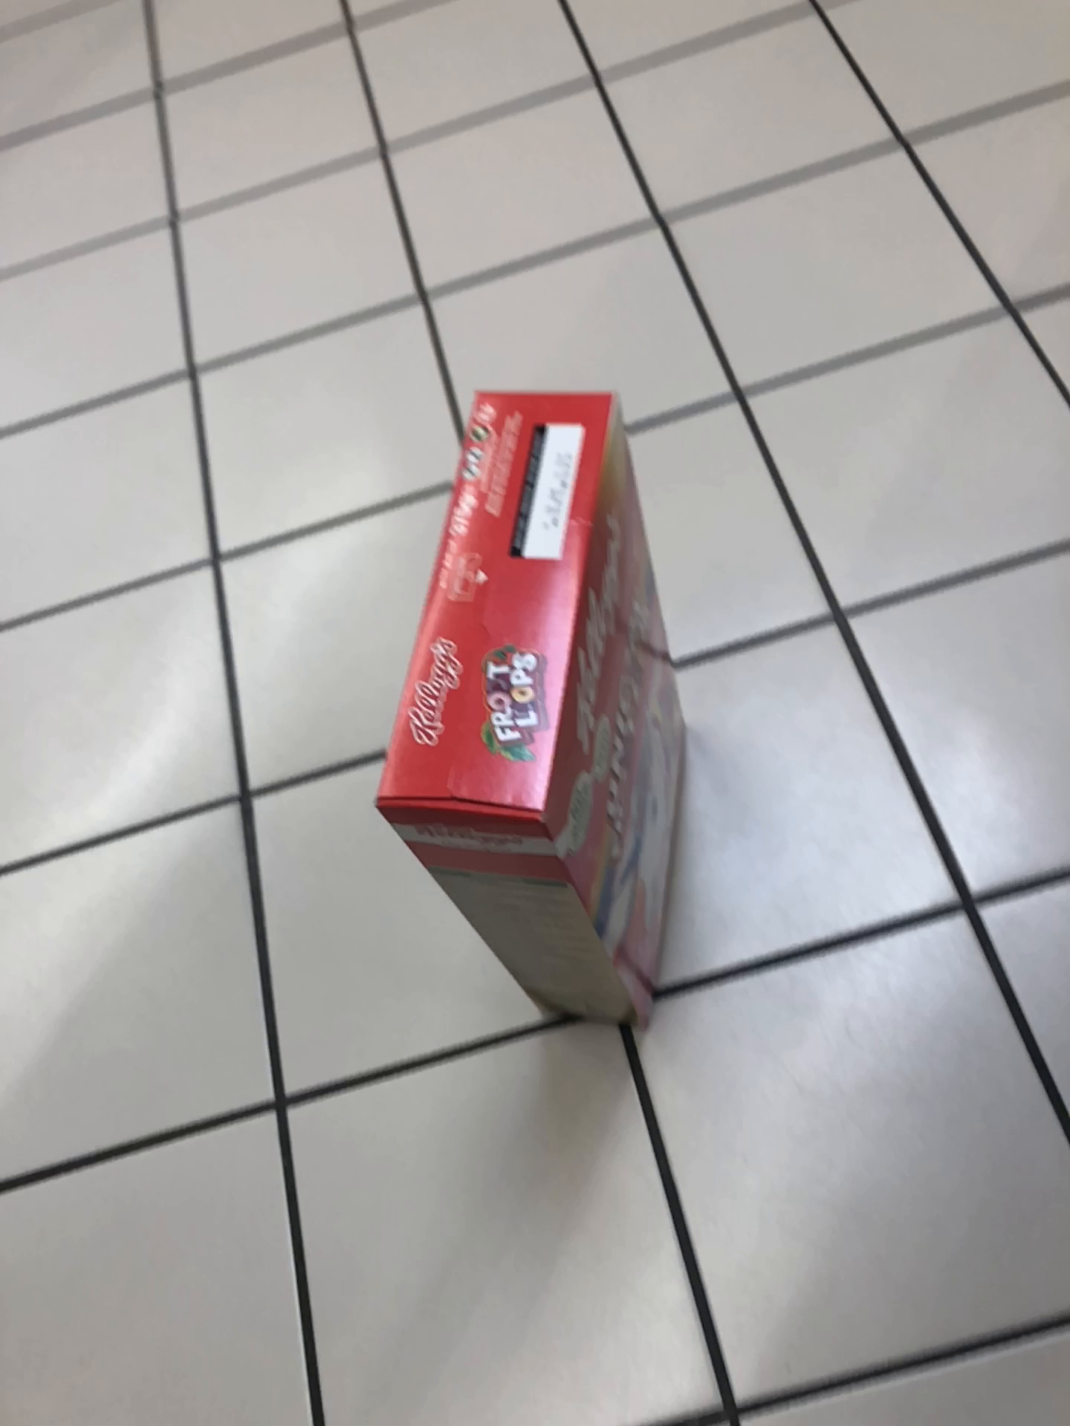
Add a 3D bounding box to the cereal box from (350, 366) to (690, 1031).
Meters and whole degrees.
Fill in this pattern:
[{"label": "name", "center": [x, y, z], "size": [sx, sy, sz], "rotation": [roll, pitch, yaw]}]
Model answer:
[{"label": "cereal box", "center": [0.016, 0.015, 0.574], "size": [0.070, 0.299, 0.201], "rotation": [4, 63, 15]}]
